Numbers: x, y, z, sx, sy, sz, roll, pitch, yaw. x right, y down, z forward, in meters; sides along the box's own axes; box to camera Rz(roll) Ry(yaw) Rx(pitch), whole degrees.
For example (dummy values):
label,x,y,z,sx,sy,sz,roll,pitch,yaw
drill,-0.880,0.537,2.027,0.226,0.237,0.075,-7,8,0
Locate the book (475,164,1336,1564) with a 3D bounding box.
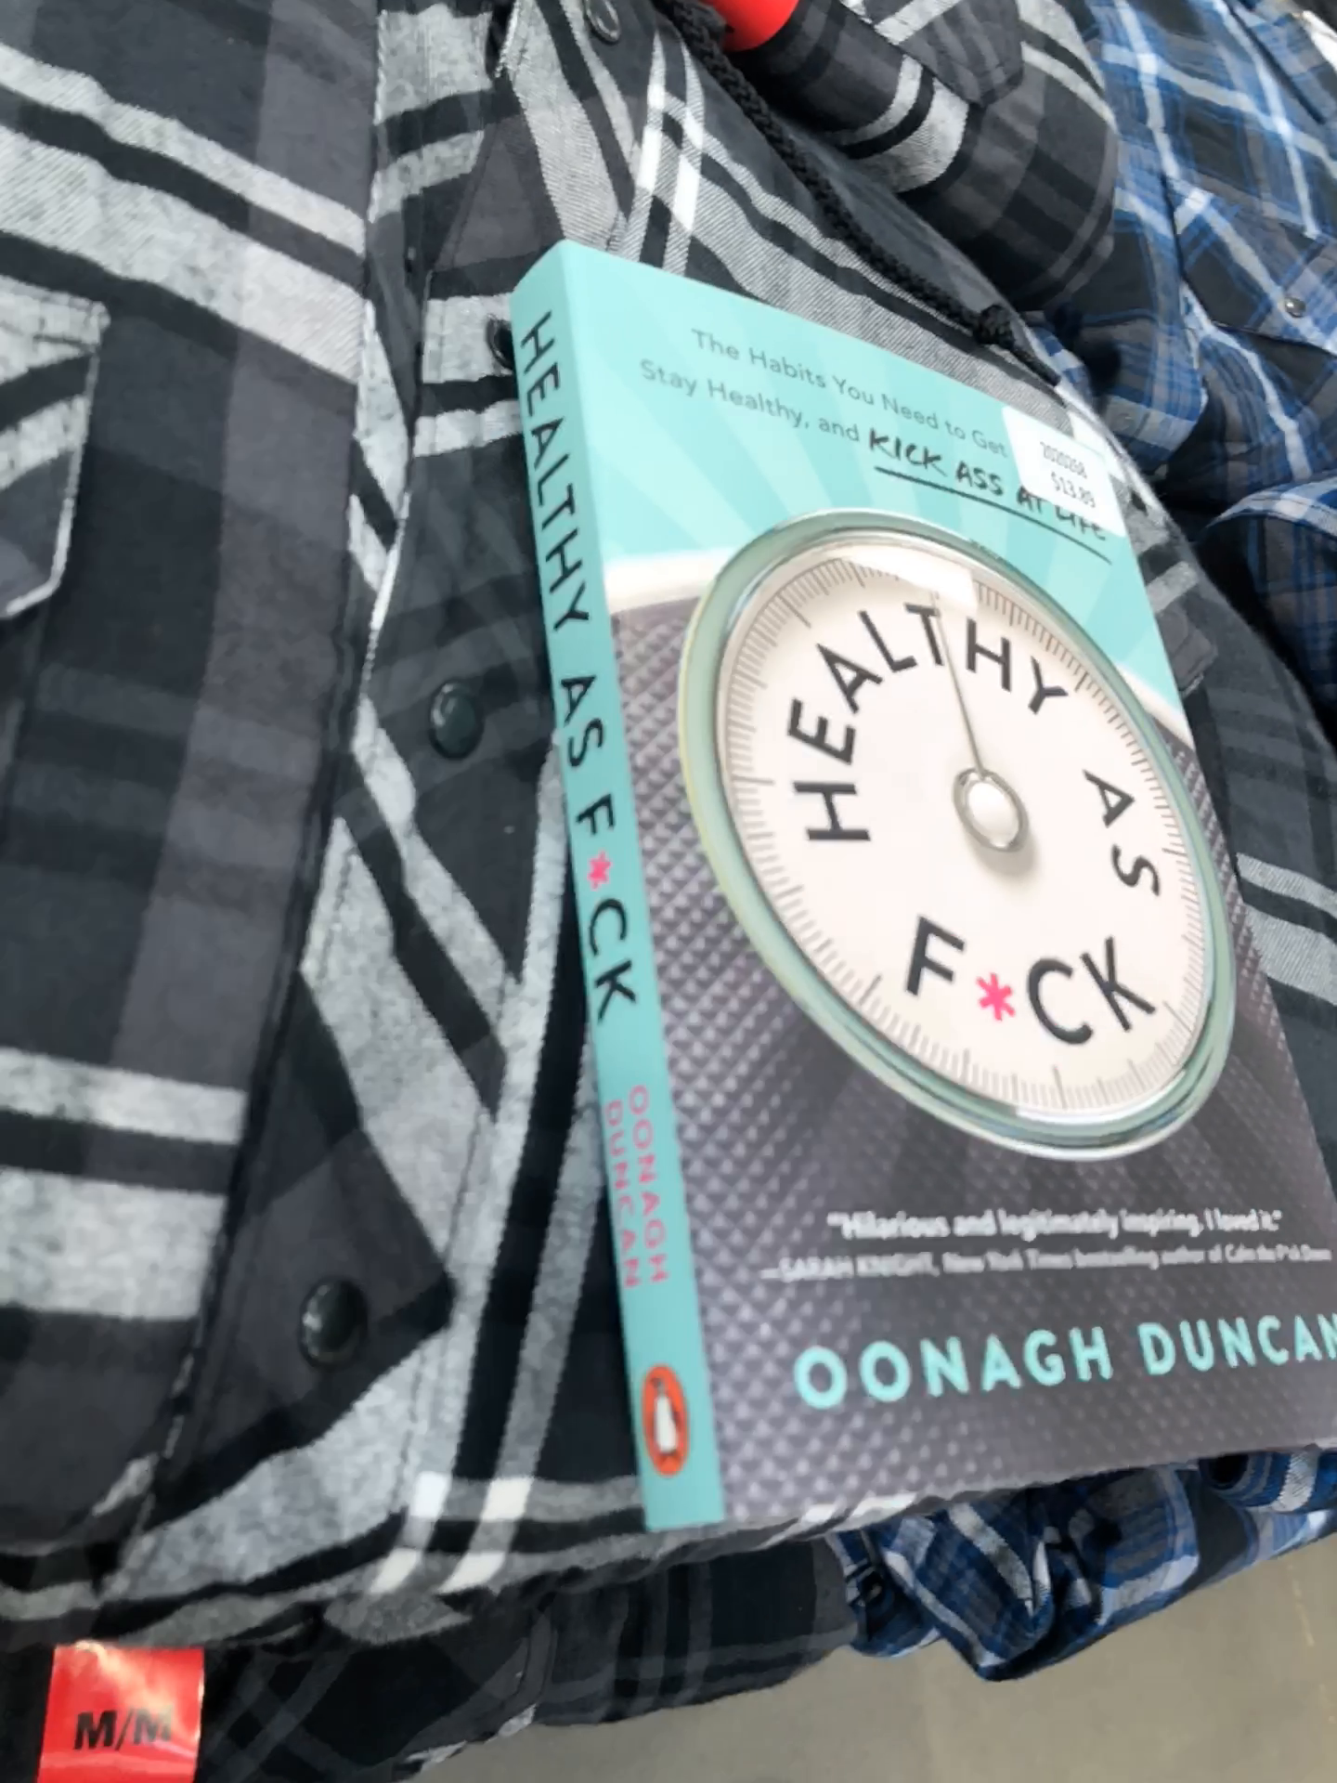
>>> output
label,x,y,z,sx,sy,sz,roll,pitch,yaw
book,0.049,-0.012,0.281,0.157,0.028,0.237,9,61,-35
